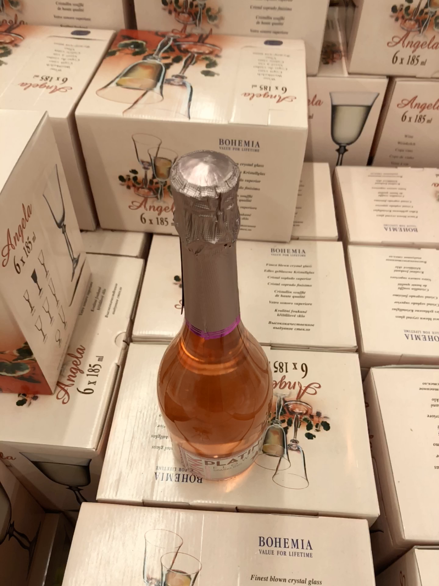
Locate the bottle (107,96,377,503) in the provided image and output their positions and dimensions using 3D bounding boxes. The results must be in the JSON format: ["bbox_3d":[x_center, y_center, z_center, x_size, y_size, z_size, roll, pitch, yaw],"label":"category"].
[{"bbox_3d":[0.003,0.038,0.345,0.100,0.308,0.100,0,51,-1],"label":"bottle"}]
